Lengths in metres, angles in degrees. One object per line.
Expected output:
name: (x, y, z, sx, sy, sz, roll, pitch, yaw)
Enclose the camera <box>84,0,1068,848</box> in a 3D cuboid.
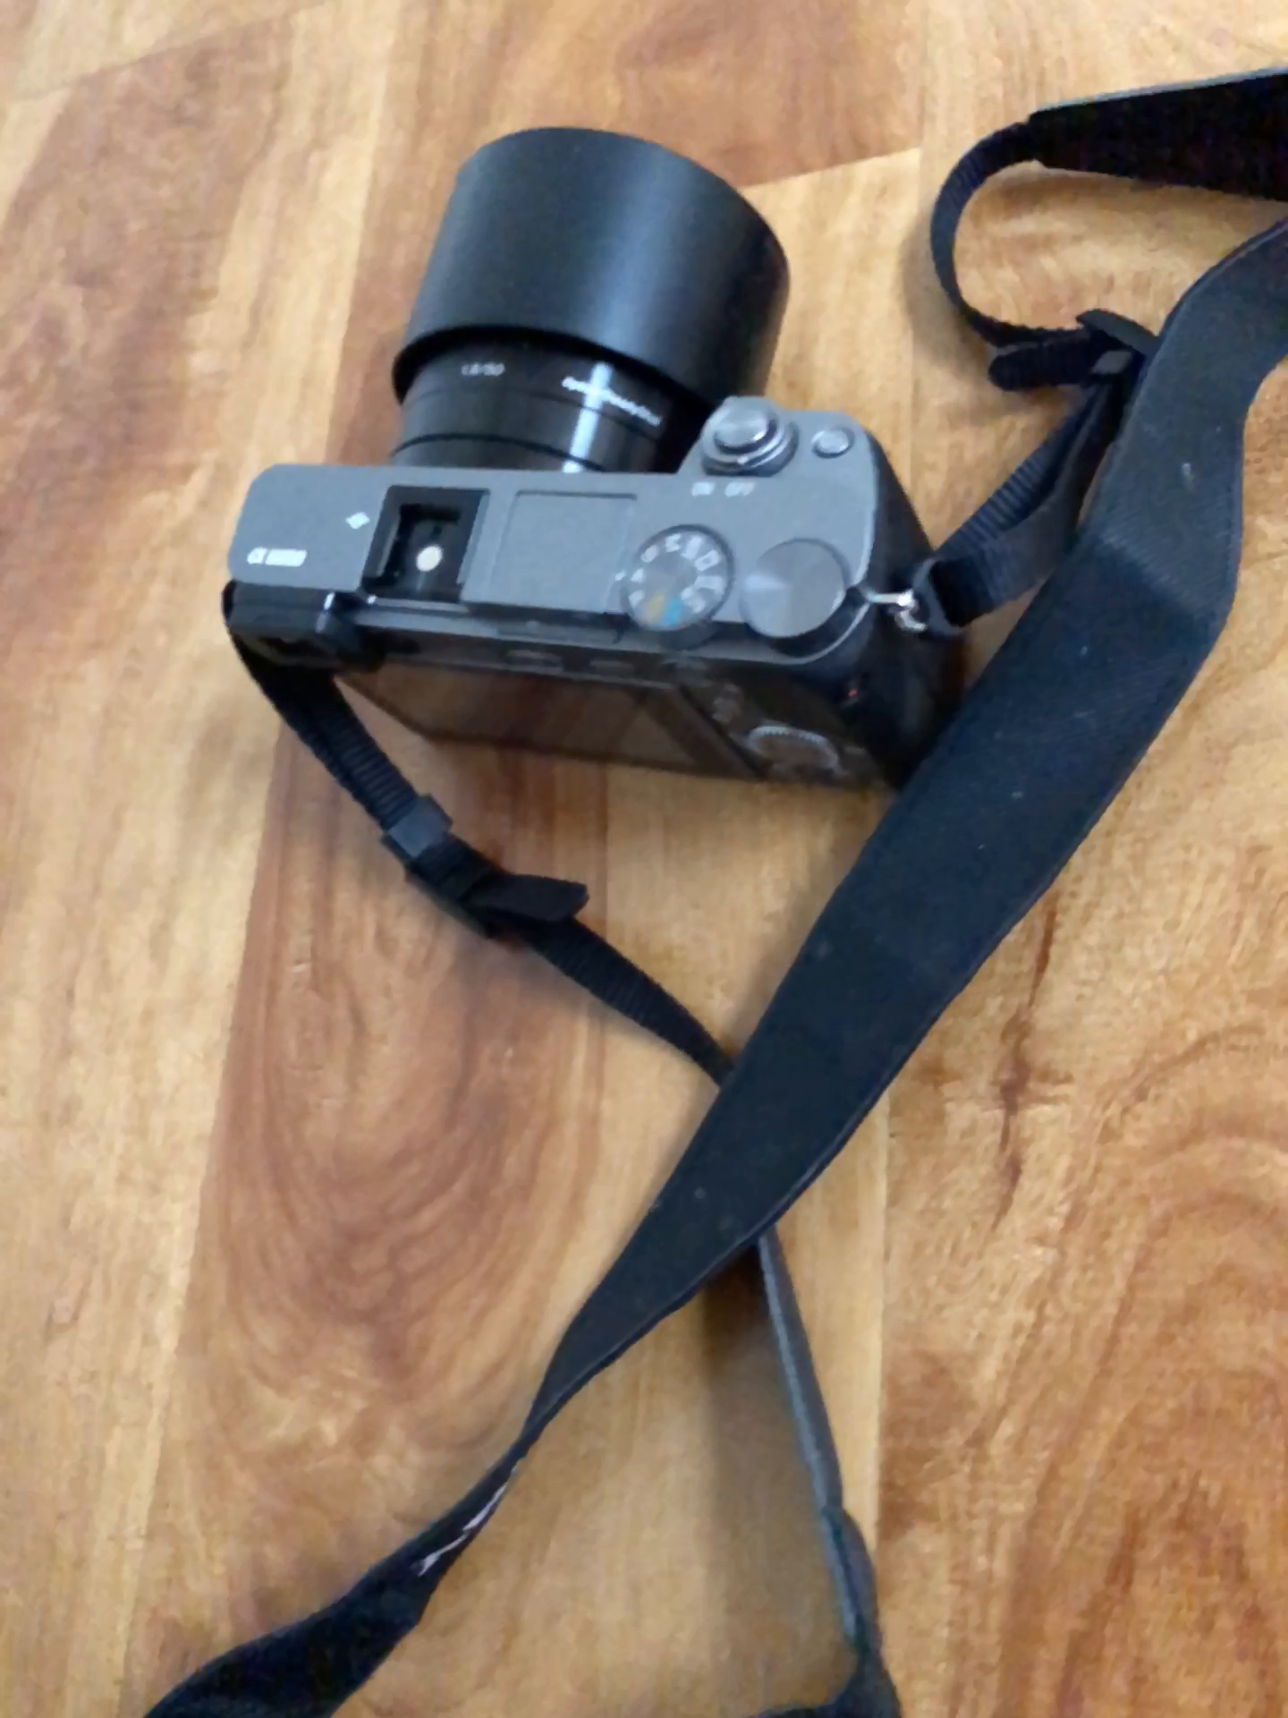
camera: (-0.007, -0.076, 0.270, 0.141, 0.080, 0.110, 9, 76, 26)
